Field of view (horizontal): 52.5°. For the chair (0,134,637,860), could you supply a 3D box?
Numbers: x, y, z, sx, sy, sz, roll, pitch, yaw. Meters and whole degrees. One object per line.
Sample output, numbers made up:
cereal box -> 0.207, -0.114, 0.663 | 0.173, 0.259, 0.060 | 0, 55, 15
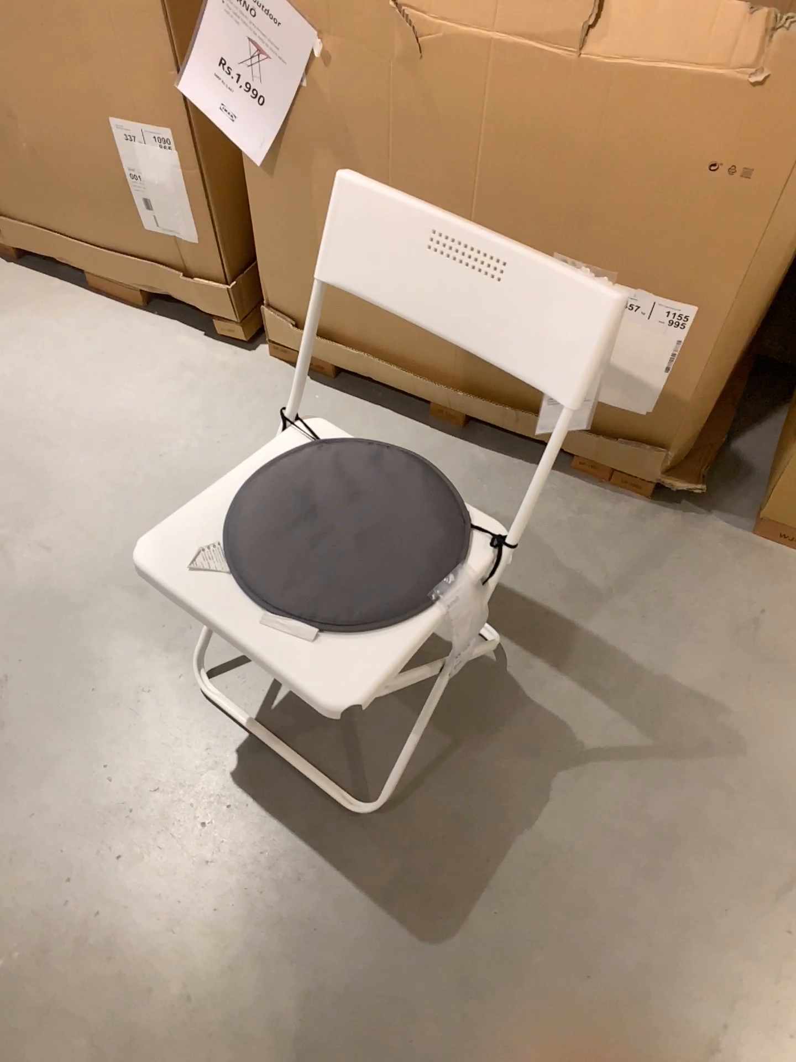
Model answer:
chair -> -0.099, -0.010, 1.111 | 0.491, 0.738, 0.481 | 33, 58, 21
